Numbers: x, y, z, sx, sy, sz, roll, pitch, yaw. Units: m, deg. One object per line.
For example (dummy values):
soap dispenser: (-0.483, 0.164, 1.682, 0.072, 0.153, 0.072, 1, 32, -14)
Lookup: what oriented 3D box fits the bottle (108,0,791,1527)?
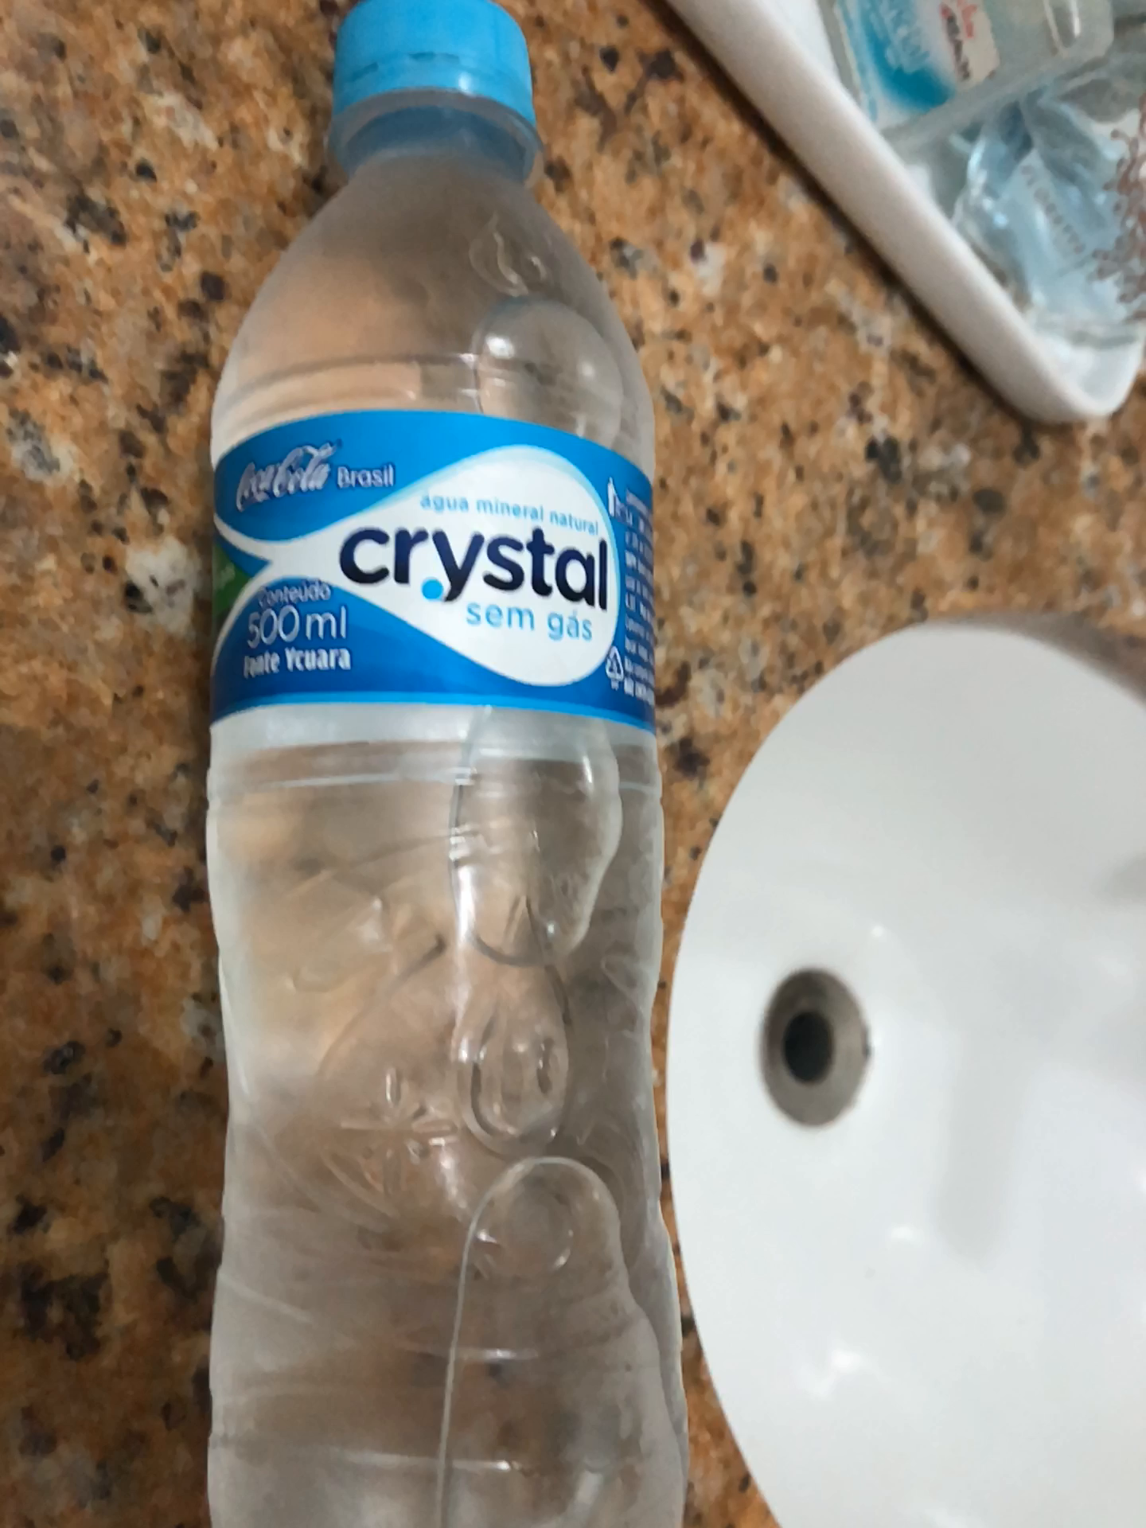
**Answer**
bottle: (-0.019, -0.004, 0.176, 0.070, 0.050, 0.230, 3, 82, -38)
